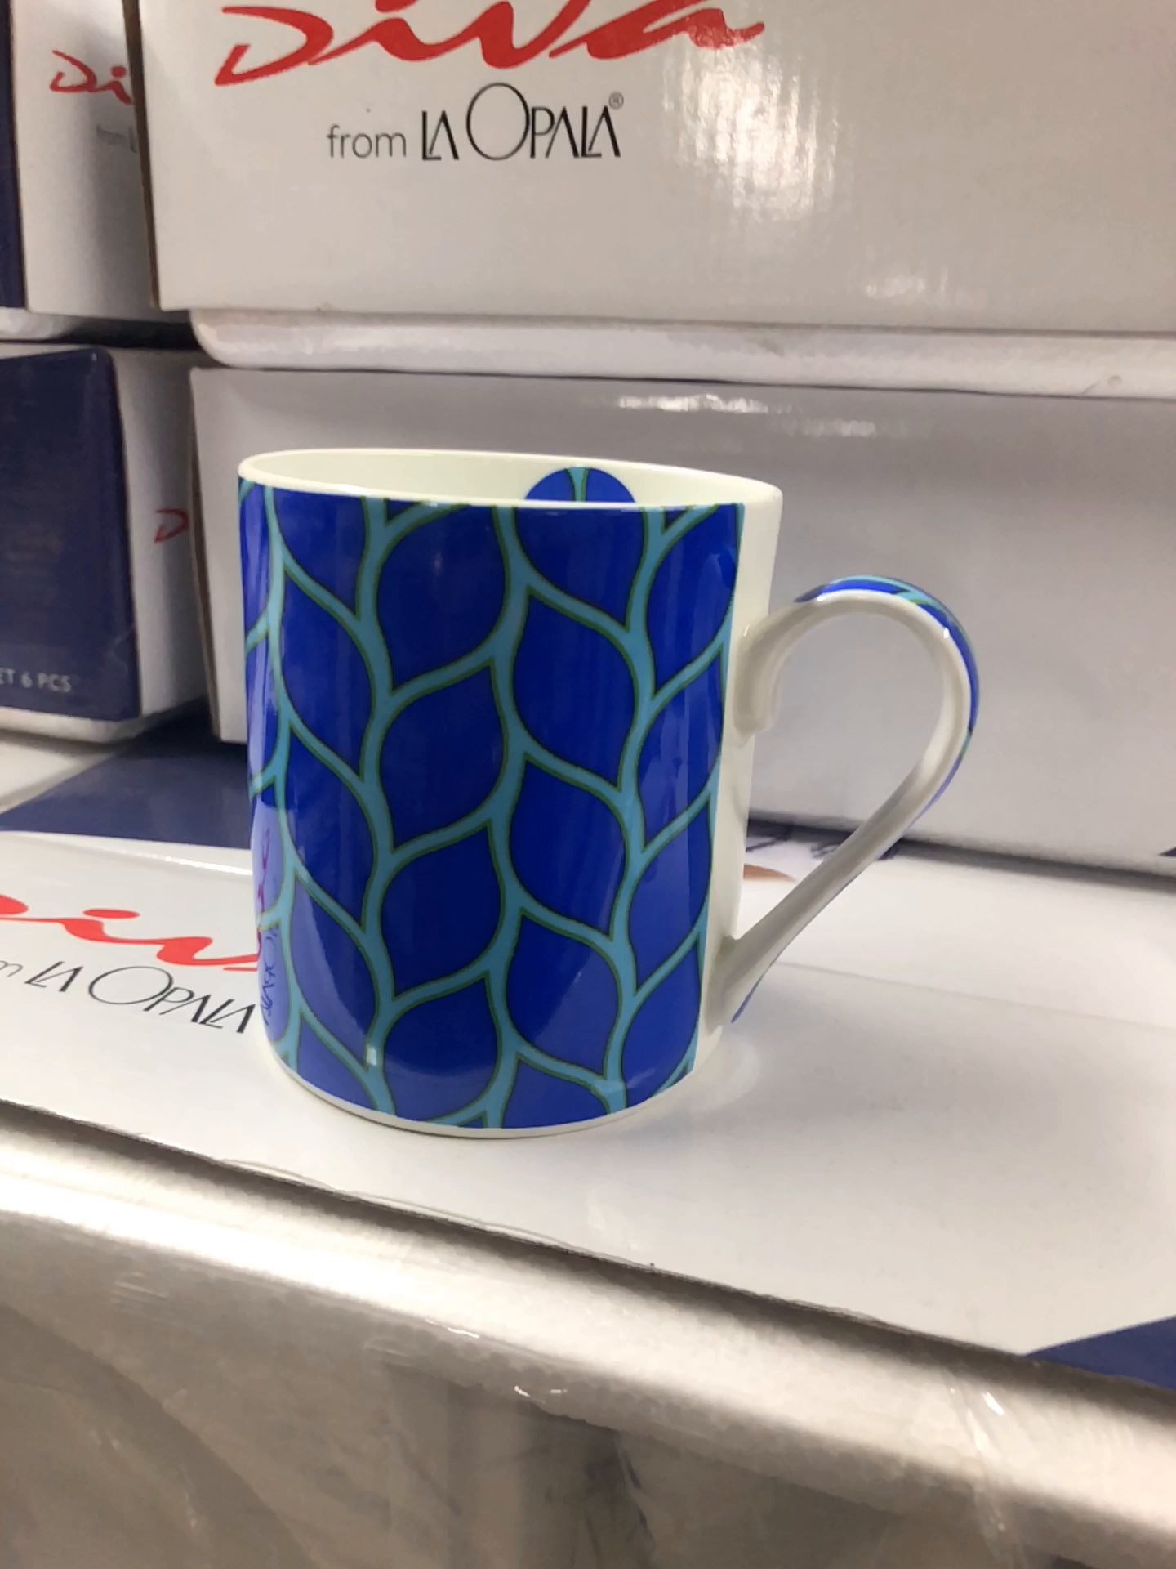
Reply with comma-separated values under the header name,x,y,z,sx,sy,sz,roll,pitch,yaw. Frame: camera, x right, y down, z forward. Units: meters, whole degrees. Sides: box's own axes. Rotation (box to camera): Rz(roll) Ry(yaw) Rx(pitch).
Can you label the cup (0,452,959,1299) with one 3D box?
name,x,y,z,sx,sy,sz,roll,pitch,yaw
cup,-0.012,0.002,0.201,0.120,0.090,0.080,7,19,15
